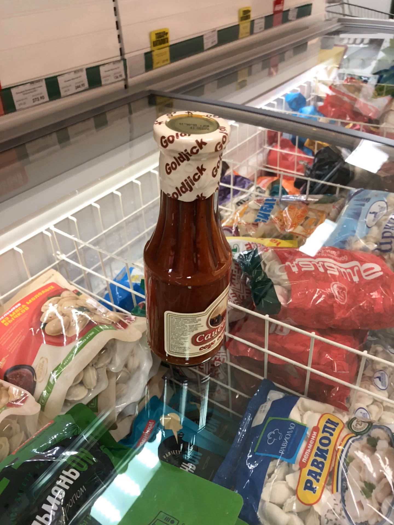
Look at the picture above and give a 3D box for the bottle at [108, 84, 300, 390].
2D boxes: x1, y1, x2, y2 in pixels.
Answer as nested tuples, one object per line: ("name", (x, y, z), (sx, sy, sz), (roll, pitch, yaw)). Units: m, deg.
("bottle", (0.005, -0.014, 0.299), (0.080, 0.179, 0.080), (1, 36, -1))
